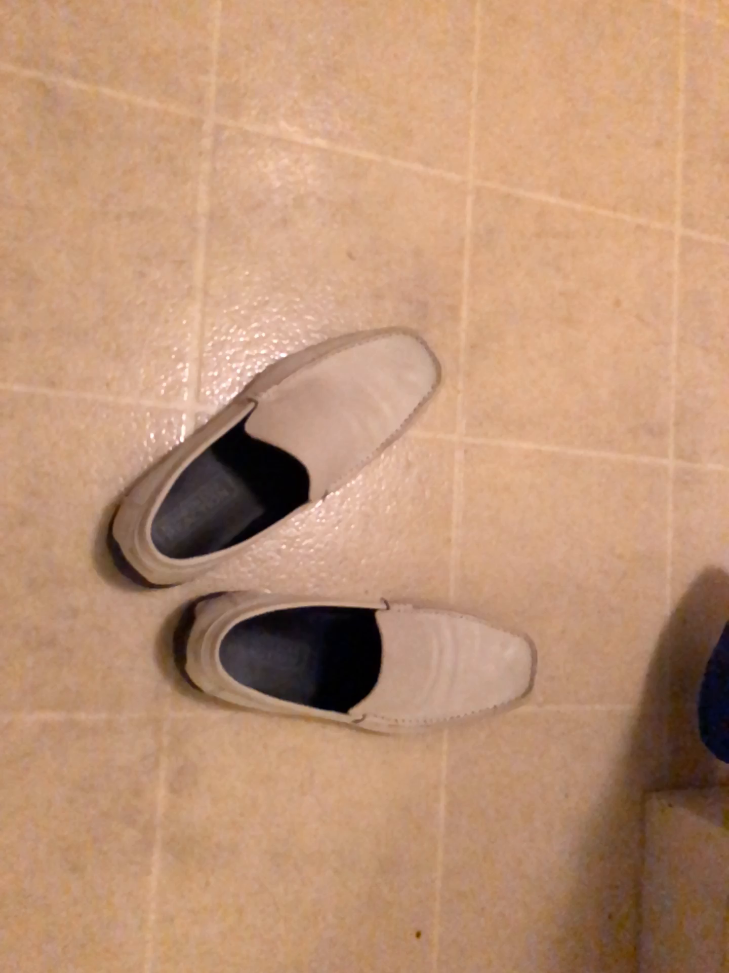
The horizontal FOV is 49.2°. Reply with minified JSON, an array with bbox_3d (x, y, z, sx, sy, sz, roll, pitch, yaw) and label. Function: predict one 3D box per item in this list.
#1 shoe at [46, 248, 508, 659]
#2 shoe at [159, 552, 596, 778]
[{"bbox_3d":[-0.057,-0.029,0.566,0.307,0.097,0.110,-39,100,-18],"label":"shoe"},{"bbox_3d":[0.012,0.130,0.582,0.290,0.097,0.110,13,82,-19],"label":"shoe"}]
